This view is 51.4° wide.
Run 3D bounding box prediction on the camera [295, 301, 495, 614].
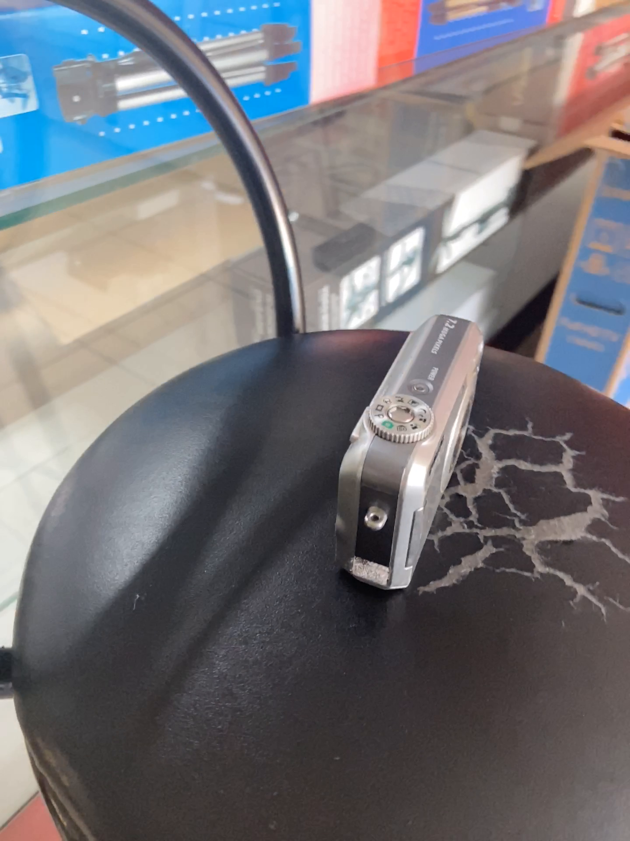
[{"bbox_3d":[0.031,0.007,0.231,0.040,0.050,0.101,14,42,16],"label":"camera"}]
